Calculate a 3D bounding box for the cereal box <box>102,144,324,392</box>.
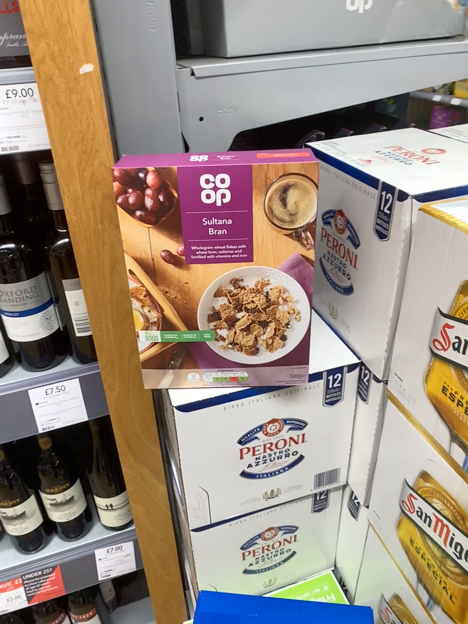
[{"bbox_3d":[-0.013,-0.039,0.525,0.200,0.258,0.071,-2,30,3],"label":"cereal box"}]
